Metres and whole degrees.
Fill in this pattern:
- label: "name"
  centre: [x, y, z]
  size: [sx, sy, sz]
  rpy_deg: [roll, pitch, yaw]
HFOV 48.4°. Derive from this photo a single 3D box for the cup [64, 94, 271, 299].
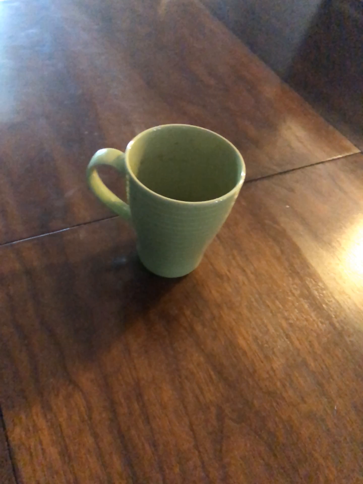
- label: "cup"
  centre: [-0.009, -0.034, 0.307]
  size: [0.120, 0.090, 0.090]
  rpy_deg: [16, 50, 4]
